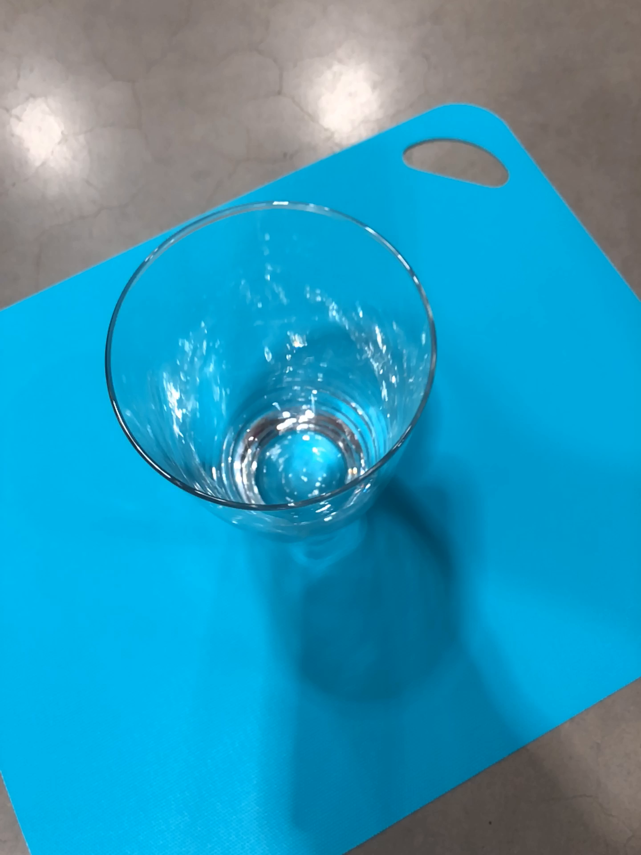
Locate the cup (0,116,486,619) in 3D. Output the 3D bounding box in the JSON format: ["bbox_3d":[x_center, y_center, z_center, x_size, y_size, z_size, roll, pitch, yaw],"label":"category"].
[{"bbox_3d":[-0.021,-0.004,0.270,0.100,0.160,0.100,-1,72,2],"label":"cup"}]
